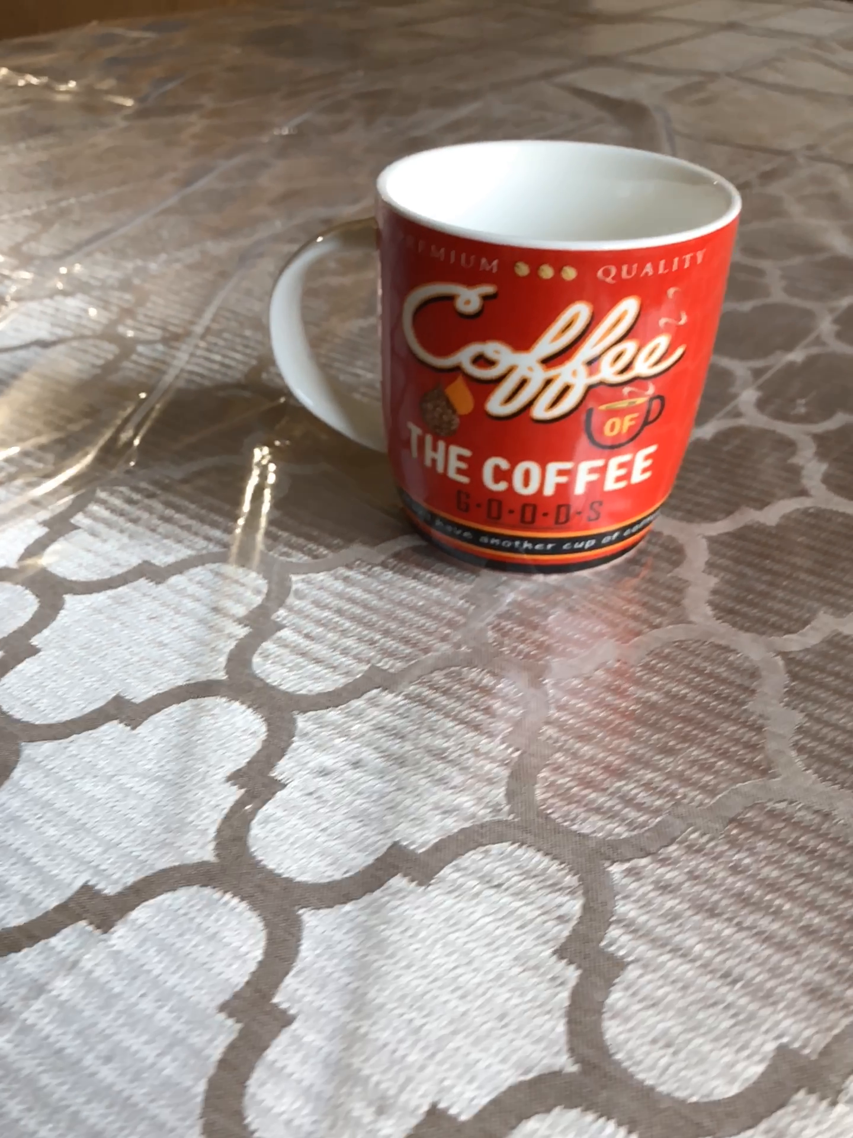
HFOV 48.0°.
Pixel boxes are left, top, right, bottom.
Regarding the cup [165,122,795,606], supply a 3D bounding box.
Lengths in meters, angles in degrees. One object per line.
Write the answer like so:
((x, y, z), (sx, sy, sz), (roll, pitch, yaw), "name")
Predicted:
((0.017, -0.065, 0.267), (0.130, 0.080, 0.121), (1, 36, -1), "cup")
